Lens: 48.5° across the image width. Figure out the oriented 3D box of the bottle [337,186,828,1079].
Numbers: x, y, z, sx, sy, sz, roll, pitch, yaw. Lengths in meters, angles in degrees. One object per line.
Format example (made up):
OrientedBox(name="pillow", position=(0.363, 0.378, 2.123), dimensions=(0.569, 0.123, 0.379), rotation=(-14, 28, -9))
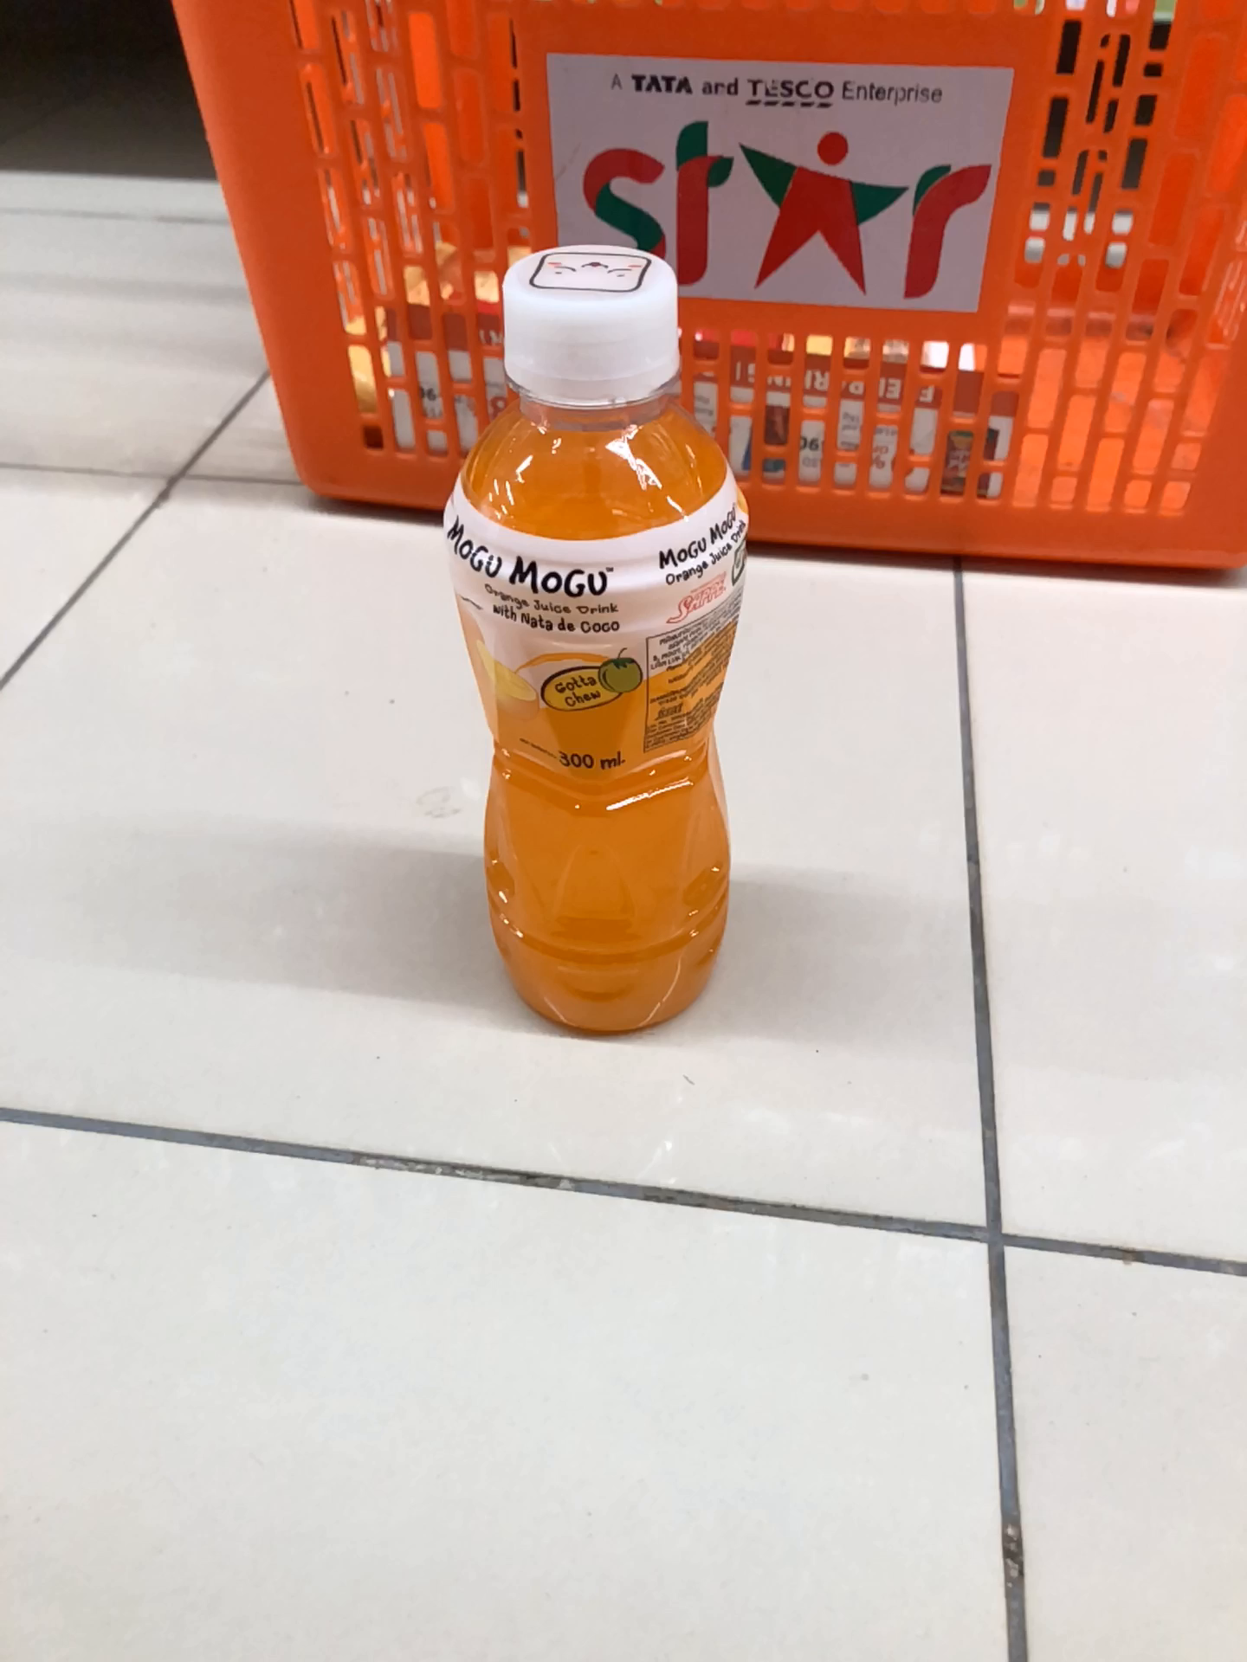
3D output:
OrientedBox(name="bottle", position=(-0.003, -0.034, 0.279), dimensions=(0.060, 0.159, 0.066), rotation=(-1, 41, 1))
